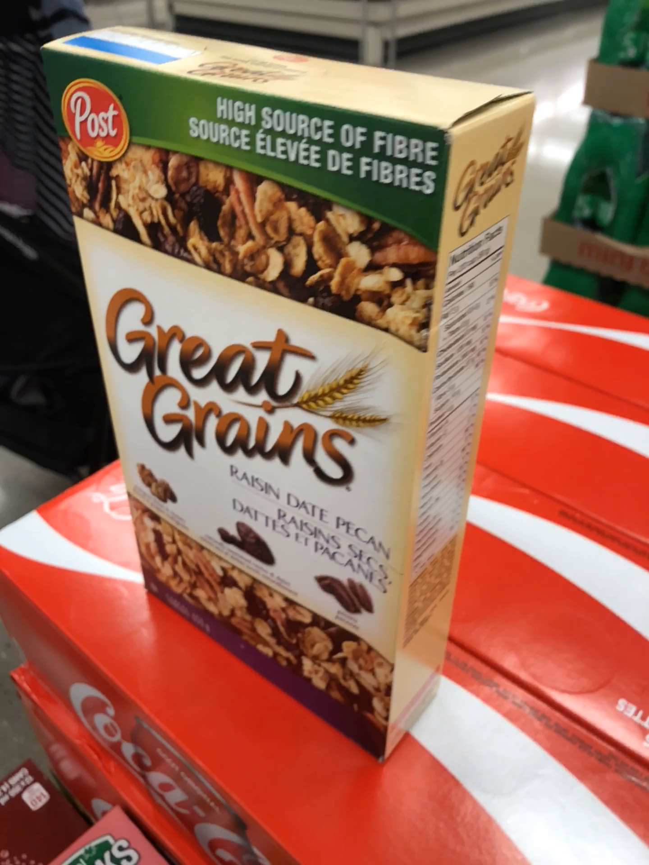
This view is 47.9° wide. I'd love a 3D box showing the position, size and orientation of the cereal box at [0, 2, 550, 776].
[{"bbox_3d":[-0.024,-0.006,0.289,0.170,0.269,0.050,26,44,31],"label":"cereal box"}]
